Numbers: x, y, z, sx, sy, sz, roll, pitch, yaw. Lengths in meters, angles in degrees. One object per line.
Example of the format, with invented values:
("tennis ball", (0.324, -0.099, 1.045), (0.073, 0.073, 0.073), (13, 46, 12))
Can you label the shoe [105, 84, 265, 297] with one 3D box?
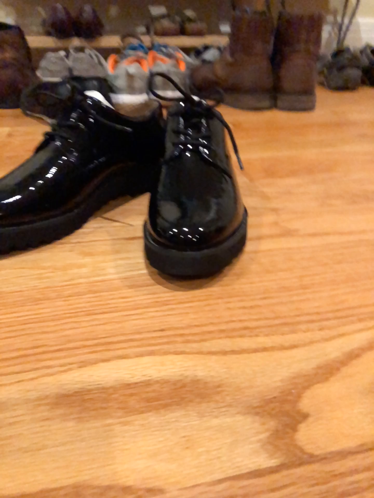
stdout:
("shoe", (0.014, -0.077, 0.377), (0.095, 0.101, 0.253), (4, 30, 6))

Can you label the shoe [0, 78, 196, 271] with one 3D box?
("shoe", (-0.106, -0.092, 0.395), (0.095, 0.101, 0.252), (22, 36, 33))
